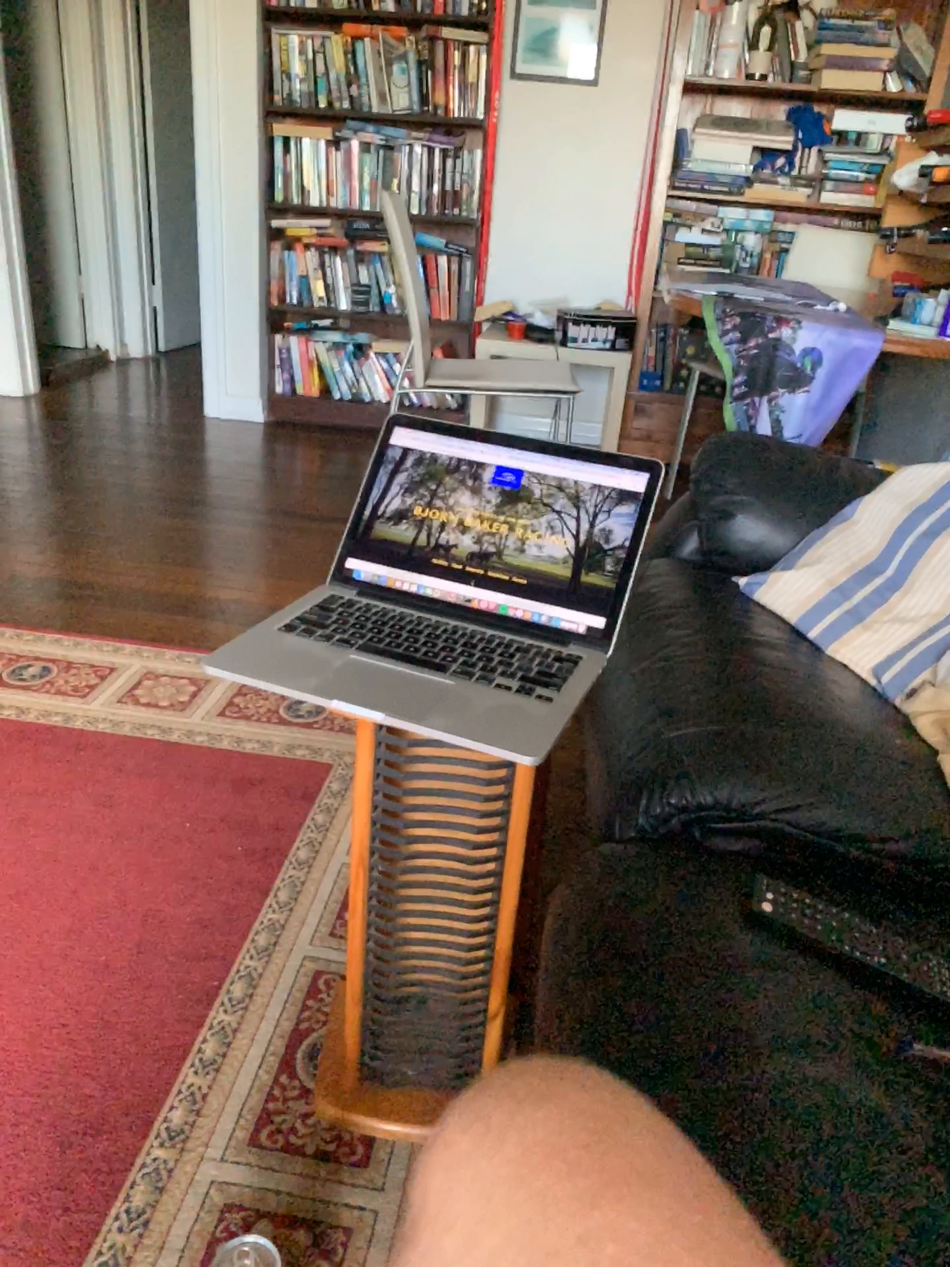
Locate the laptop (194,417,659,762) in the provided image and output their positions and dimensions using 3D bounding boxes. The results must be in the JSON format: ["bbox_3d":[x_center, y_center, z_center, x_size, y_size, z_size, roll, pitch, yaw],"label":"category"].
[{"bbox_3d":[-0.026,-0.071,0.903,0.312,0.161,0.341,14,25,18],"label":"laptop"}]
